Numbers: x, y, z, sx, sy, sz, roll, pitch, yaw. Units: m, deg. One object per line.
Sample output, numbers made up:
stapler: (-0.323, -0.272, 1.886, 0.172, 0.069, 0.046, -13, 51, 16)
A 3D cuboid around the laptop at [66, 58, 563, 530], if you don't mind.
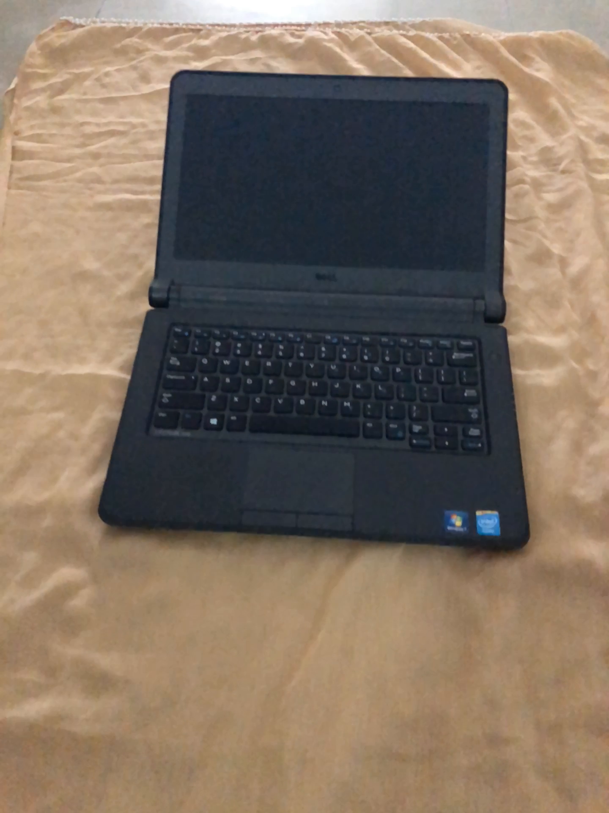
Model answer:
laptop: (0.017, -0.120, 0.559, 0.308, 0.091, 0.411, 3, 59, 2)
